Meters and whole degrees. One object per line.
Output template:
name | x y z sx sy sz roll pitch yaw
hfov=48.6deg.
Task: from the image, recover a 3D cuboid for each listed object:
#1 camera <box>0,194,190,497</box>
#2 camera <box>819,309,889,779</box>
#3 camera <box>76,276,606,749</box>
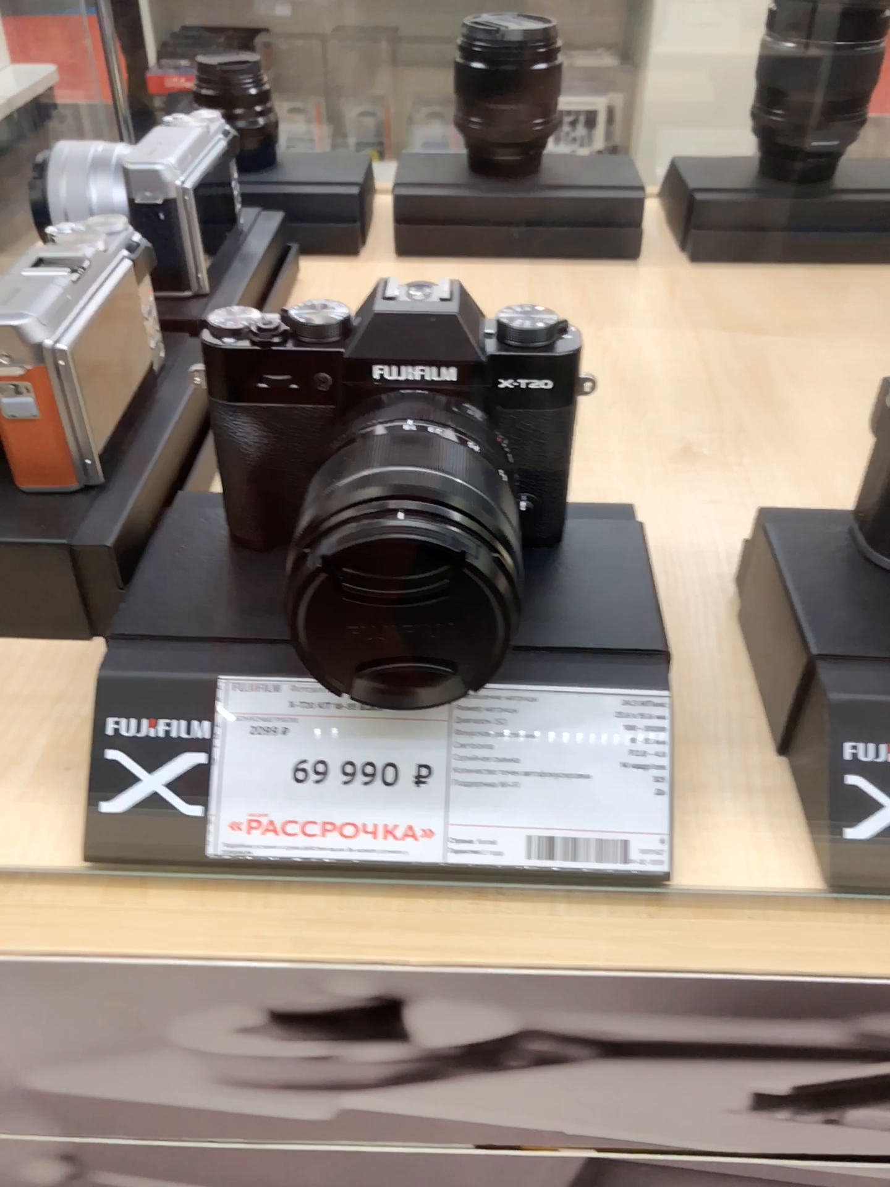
camera | -0.150 -0.096 0.364 0.074 0.063 0.122 2 38 1
camera | 0.197 -0.021 0.280 0.130 0.071 0.125 2 38 1
camera | -0.021 -0.032 0.300 0.121 0.080 0.131 3 38 3
